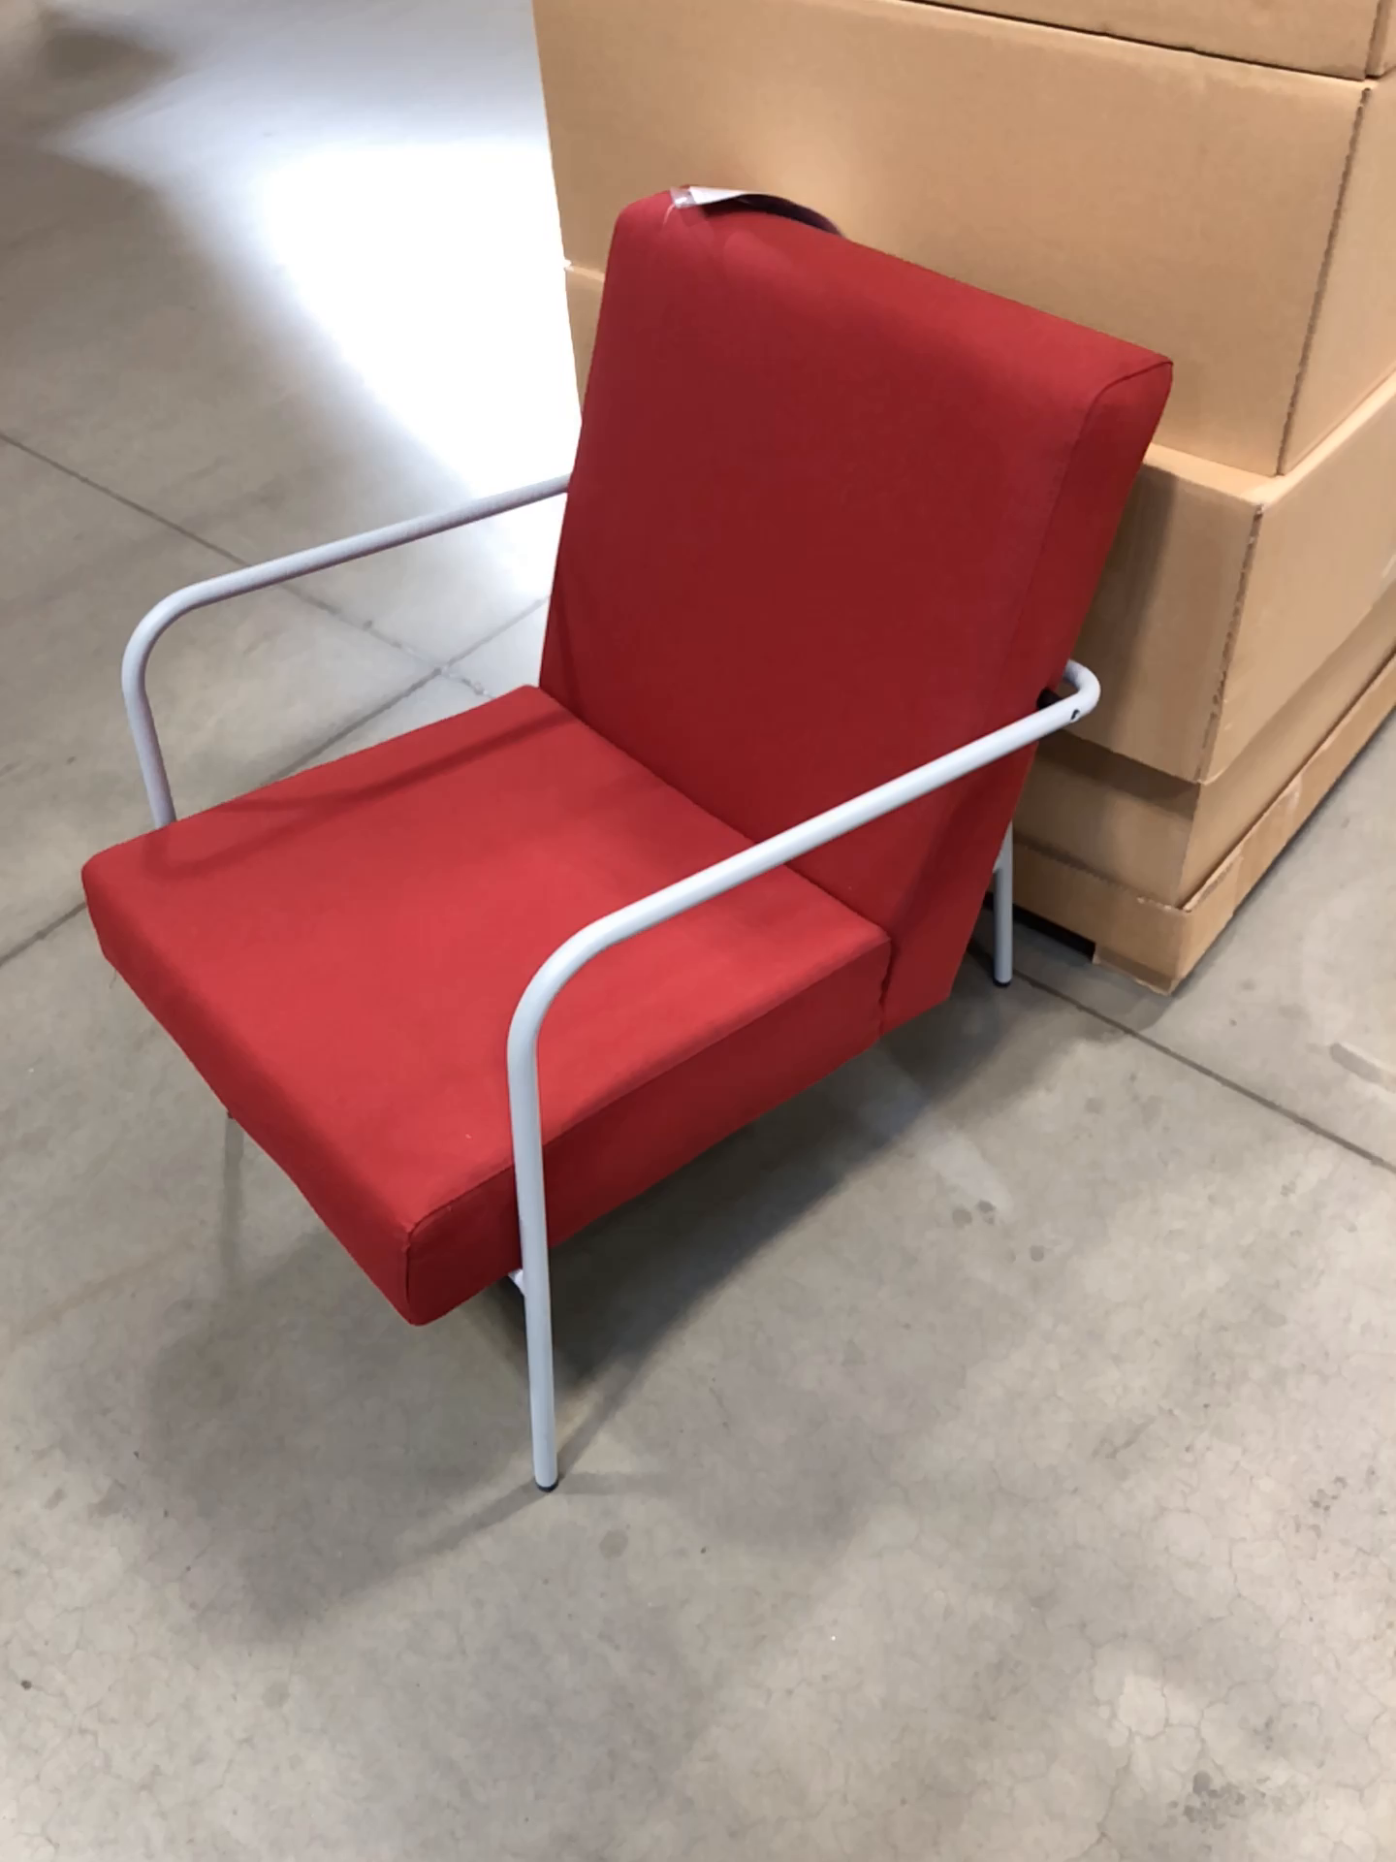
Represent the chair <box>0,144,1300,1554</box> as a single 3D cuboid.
[{"bbox_3d":[-0.062,-0.105,1.307,0.761,0.708,0.632,-34,52,-24],"label":"chair"}]
